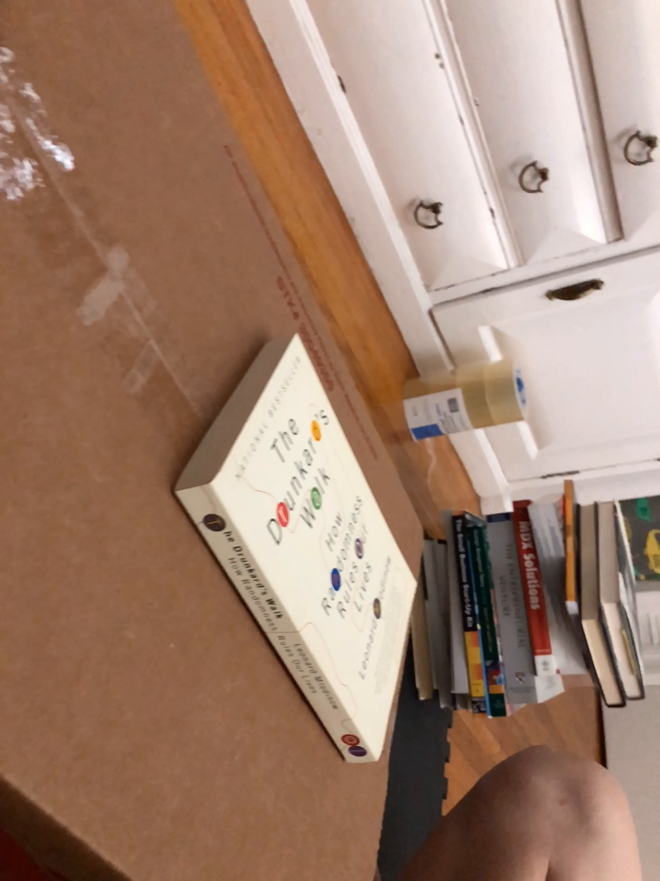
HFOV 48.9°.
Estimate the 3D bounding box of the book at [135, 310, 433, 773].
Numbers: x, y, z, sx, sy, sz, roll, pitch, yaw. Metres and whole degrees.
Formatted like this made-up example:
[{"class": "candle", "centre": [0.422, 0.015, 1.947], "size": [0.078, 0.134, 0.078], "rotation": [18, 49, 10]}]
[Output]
[{"class": "book", "centre": [-0.006, 0.057, 0.399], "size": [0.210, 0.040, 0.141], "rotation": [64, 29, -30]}]
